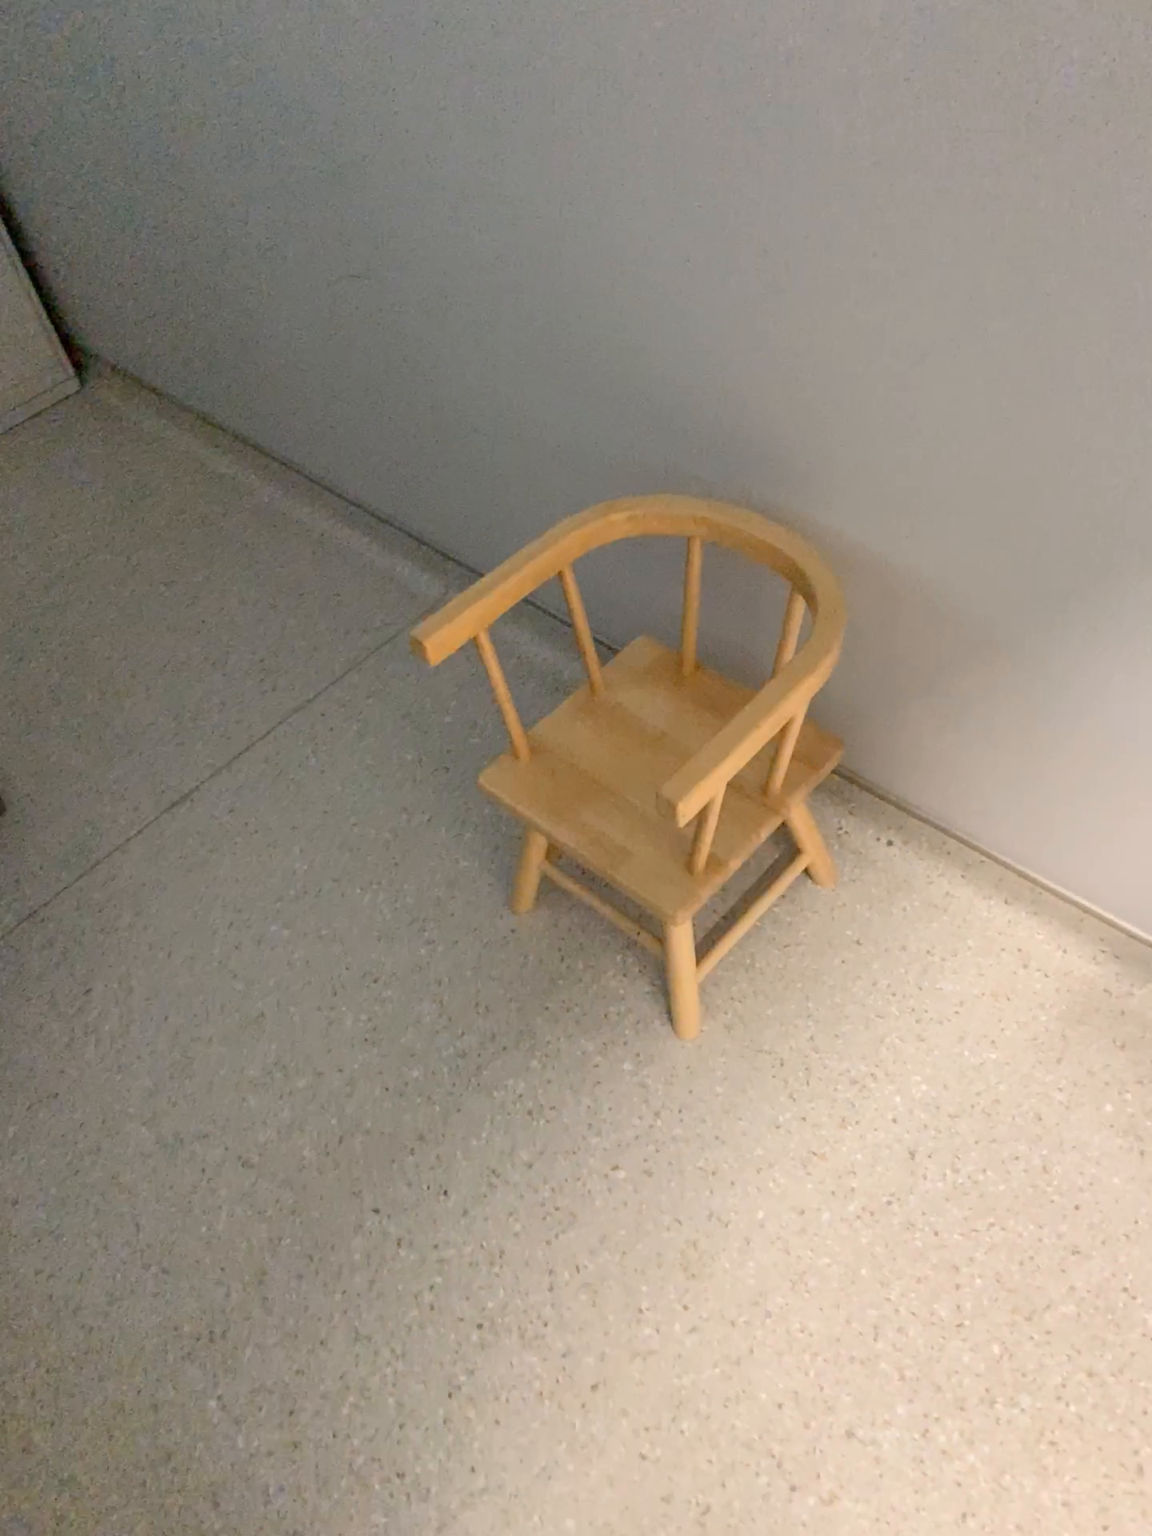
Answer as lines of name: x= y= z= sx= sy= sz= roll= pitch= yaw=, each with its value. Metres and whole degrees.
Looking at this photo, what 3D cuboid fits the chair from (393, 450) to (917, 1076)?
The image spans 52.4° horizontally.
chair: x=0.098 y=-0.001 z=1.291 sx=0.343 sy=0.481 sz=0.363 roll=-39 pitch=55 yaw=-23
